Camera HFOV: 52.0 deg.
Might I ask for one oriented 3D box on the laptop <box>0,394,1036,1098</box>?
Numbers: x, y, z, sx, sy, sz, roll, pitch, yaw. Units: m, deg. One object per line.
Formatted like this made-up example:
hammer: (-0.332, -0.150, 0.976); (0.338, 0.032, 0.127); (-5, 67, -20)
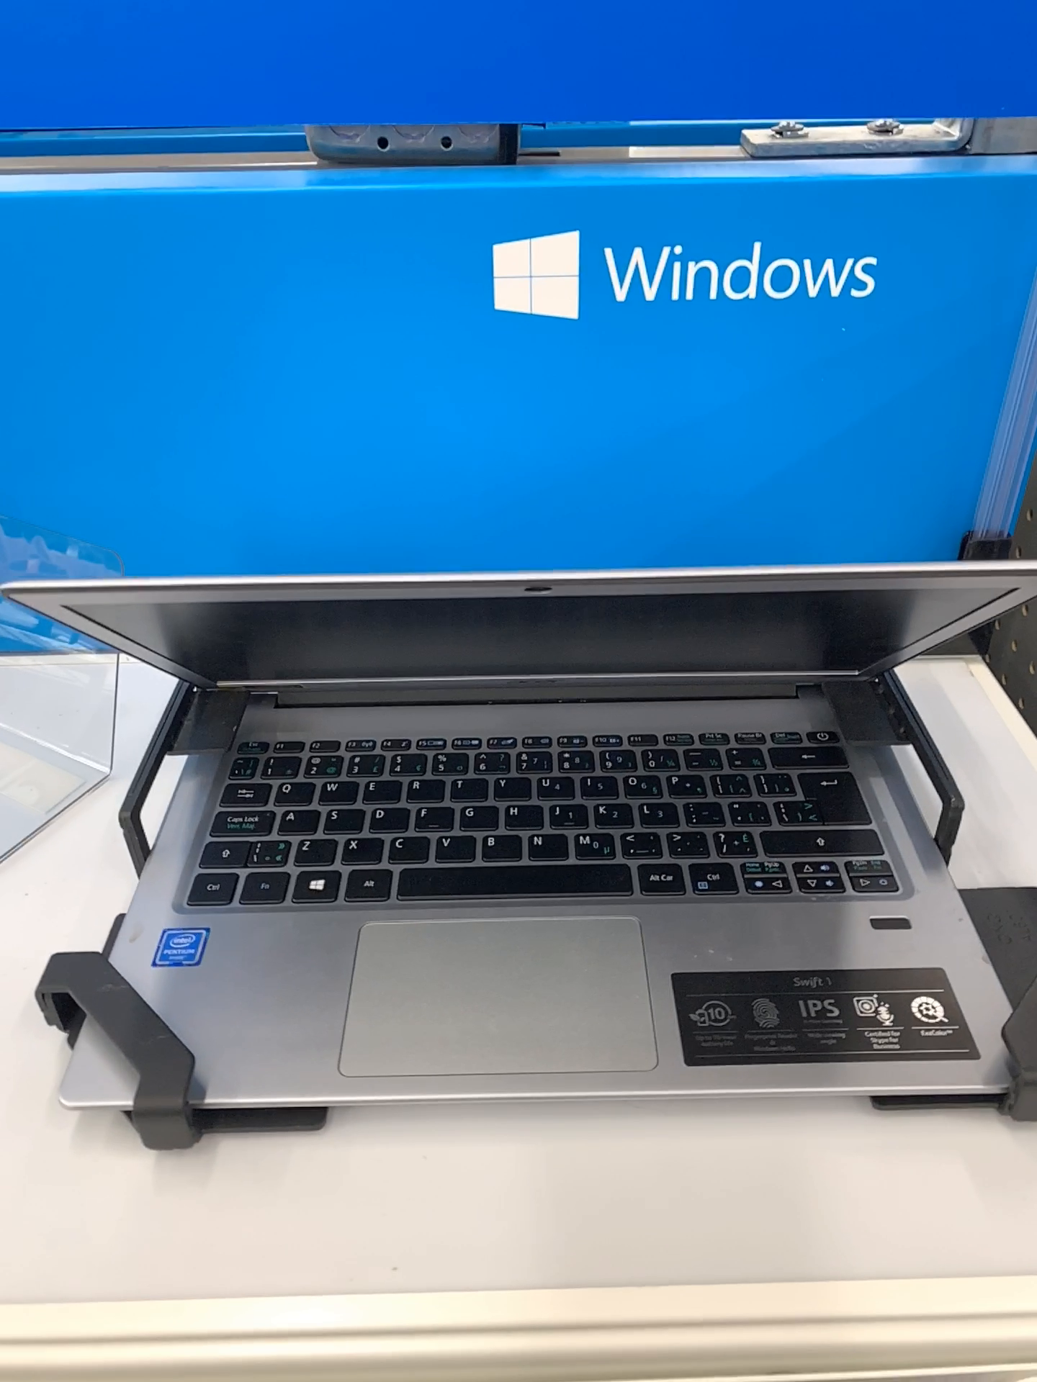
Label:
laptop: (0.006, 0.007, 0.373); (0.307, 0.140, 0.198); (-1, 37, 0)
